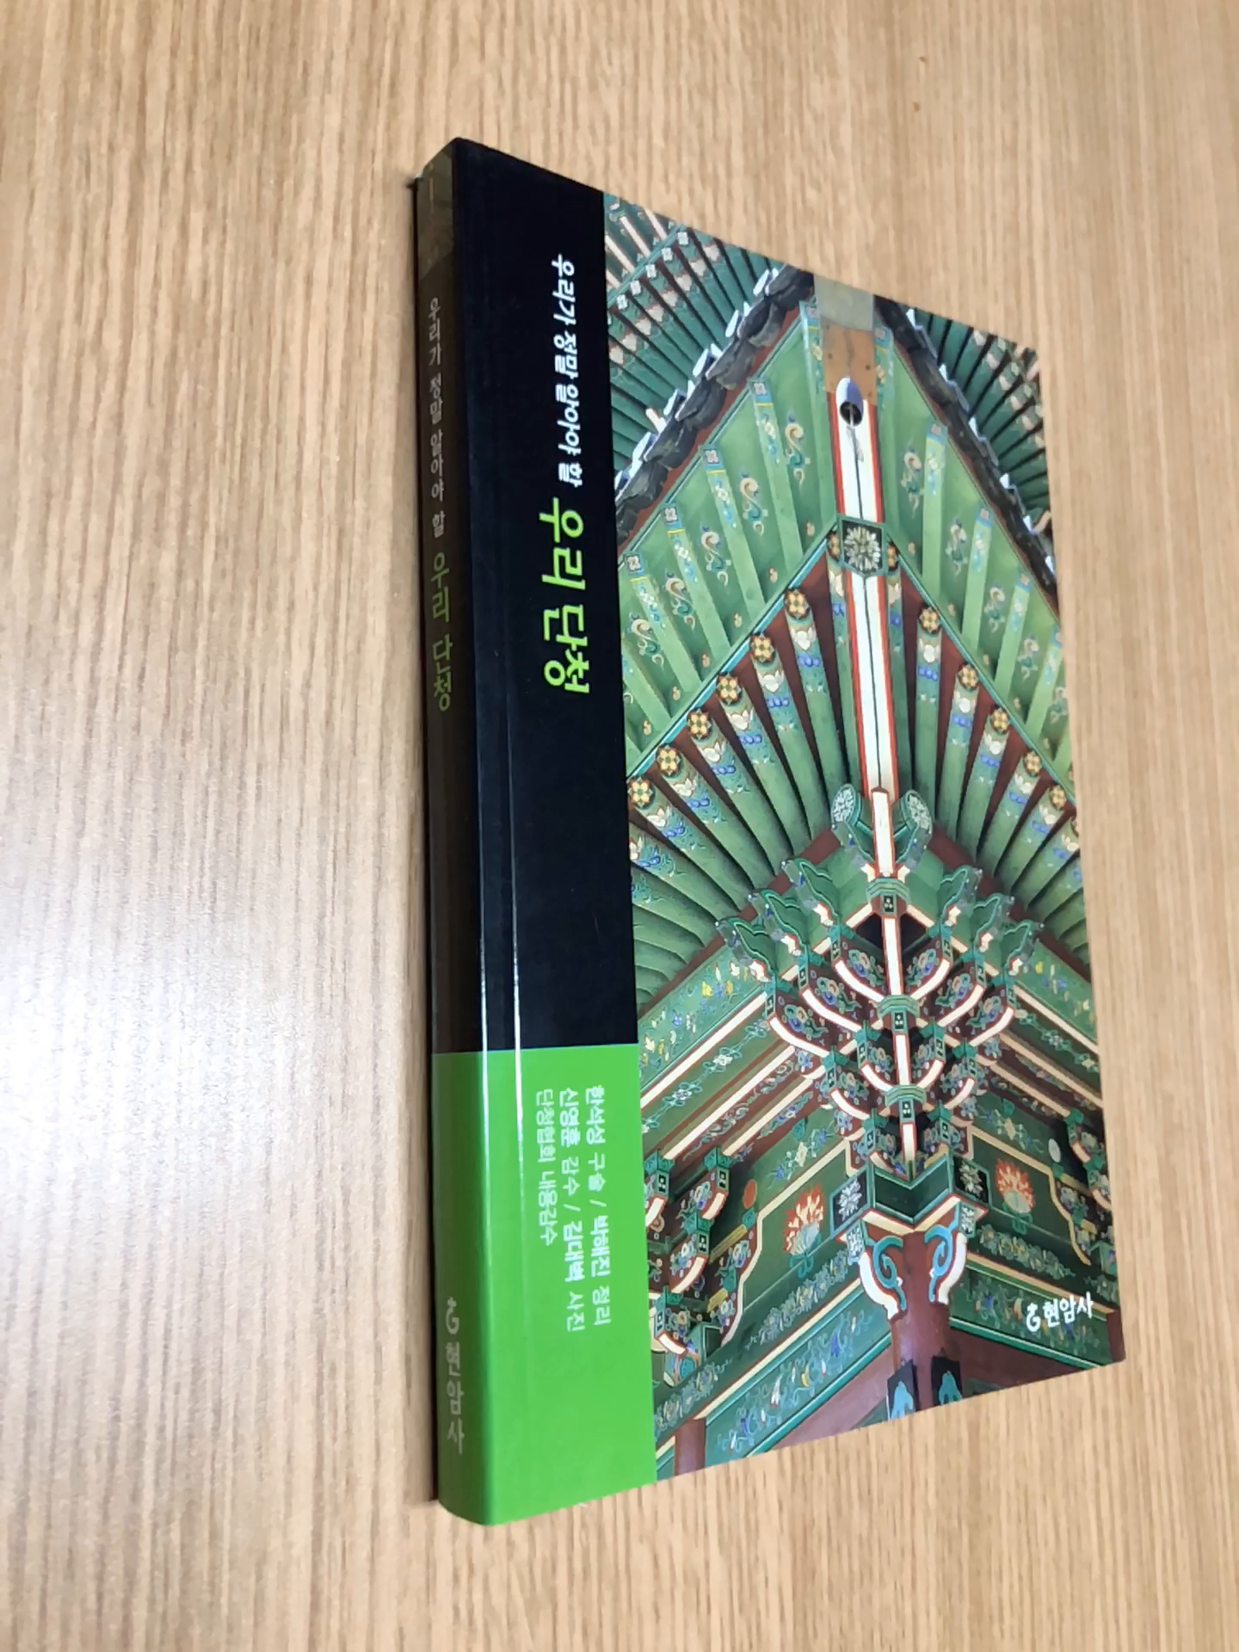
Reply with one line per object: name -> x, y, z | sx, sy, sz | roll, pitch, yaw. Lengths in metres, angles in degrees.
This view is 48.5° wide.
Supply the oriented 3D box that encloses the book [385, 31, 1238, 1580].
book -> 0.040, -0.005, 0.243 | 0.161, 0.030, 0.210 | 4, 80, -35
